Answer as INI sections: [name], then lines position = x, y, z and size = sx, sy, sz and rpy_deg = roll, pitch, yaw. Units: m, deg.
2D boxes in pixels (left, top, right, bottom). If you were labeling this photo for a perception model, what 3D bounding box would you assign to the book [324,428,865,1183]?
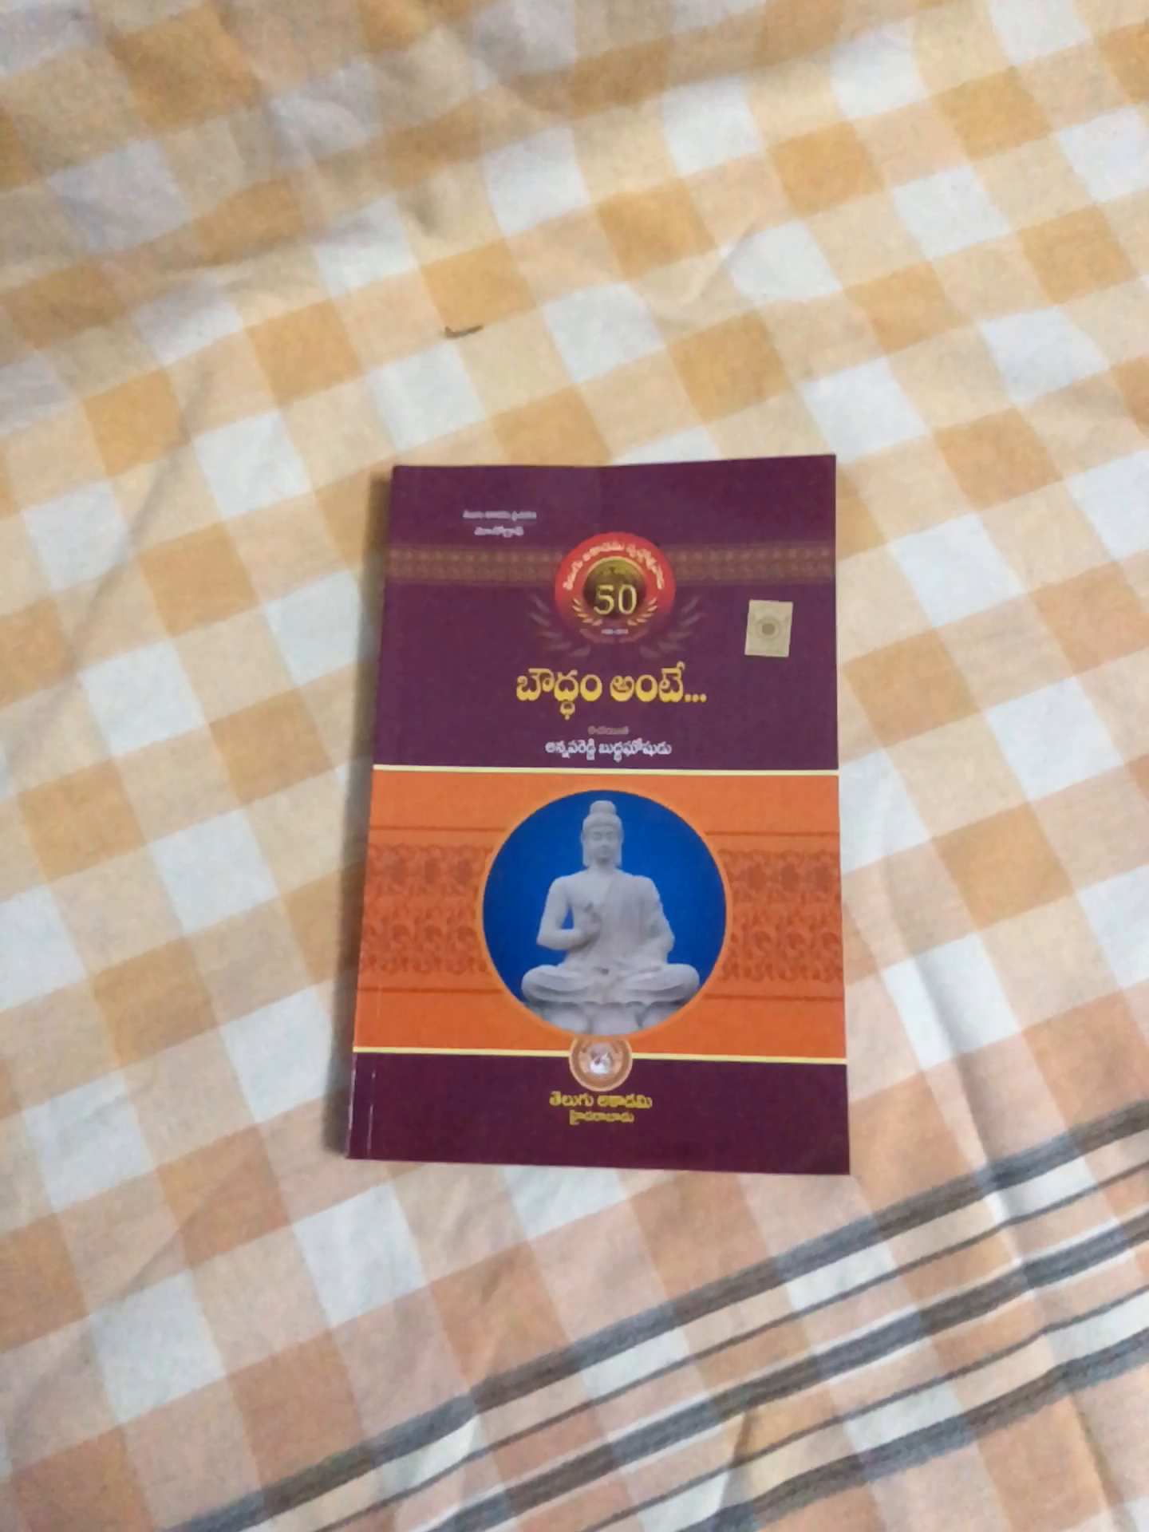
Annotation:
[book]
position = 0.010, 0.006, 0.411
size = 0.160, 0.020, 0.240
rpy_deg = 2, 77, 1
